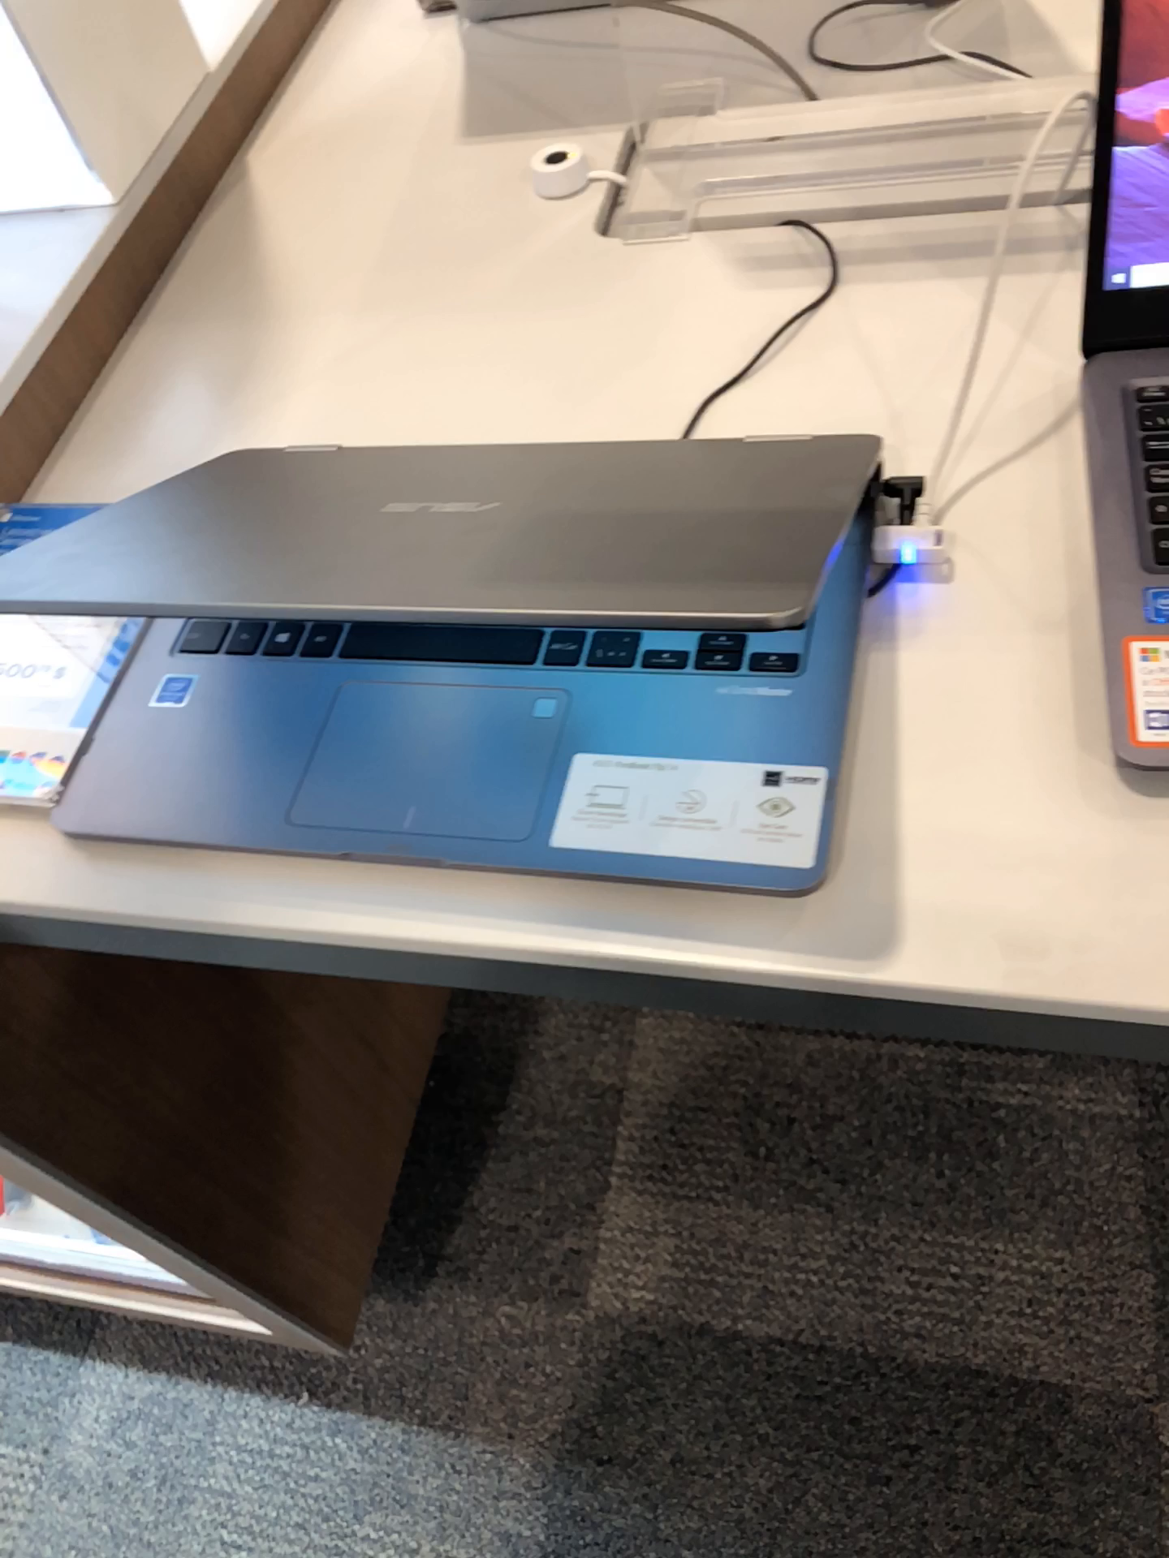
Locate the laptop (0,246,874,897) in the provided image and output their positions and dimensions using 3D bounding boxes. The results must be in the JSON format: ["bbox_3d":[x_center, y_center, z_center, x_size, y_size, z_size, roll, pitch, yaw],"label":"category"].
[{"bbox_3d":[-0.062,-0.087,0.508,0.322,0.105,0.215,4,56,18],"label":"laptop"}]
